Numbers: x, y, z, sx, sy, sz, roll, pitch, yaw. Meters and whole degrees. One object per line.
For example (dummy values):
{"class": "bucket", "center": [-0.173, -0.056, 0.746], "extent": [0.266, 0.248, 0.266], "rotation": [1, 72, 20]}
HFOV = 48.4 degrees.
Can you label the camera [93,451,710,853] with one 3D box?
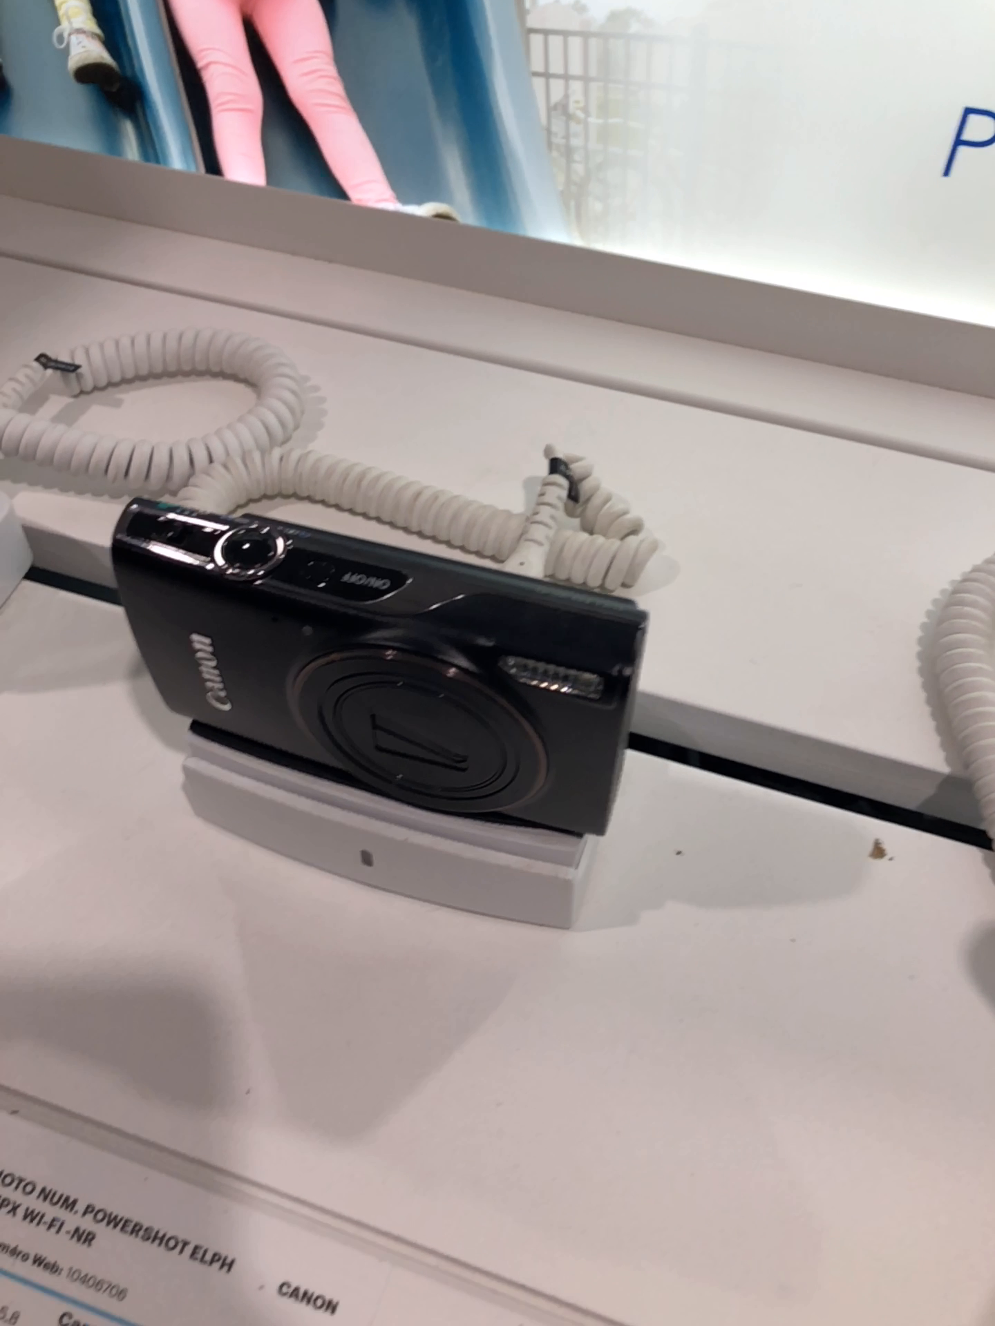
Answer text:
{"class": "camera", "center": [-0.019, -0.002, 0.228], "extent": [0.113, 0.057, 0.026], "rotation": [14, 49, 11]}
